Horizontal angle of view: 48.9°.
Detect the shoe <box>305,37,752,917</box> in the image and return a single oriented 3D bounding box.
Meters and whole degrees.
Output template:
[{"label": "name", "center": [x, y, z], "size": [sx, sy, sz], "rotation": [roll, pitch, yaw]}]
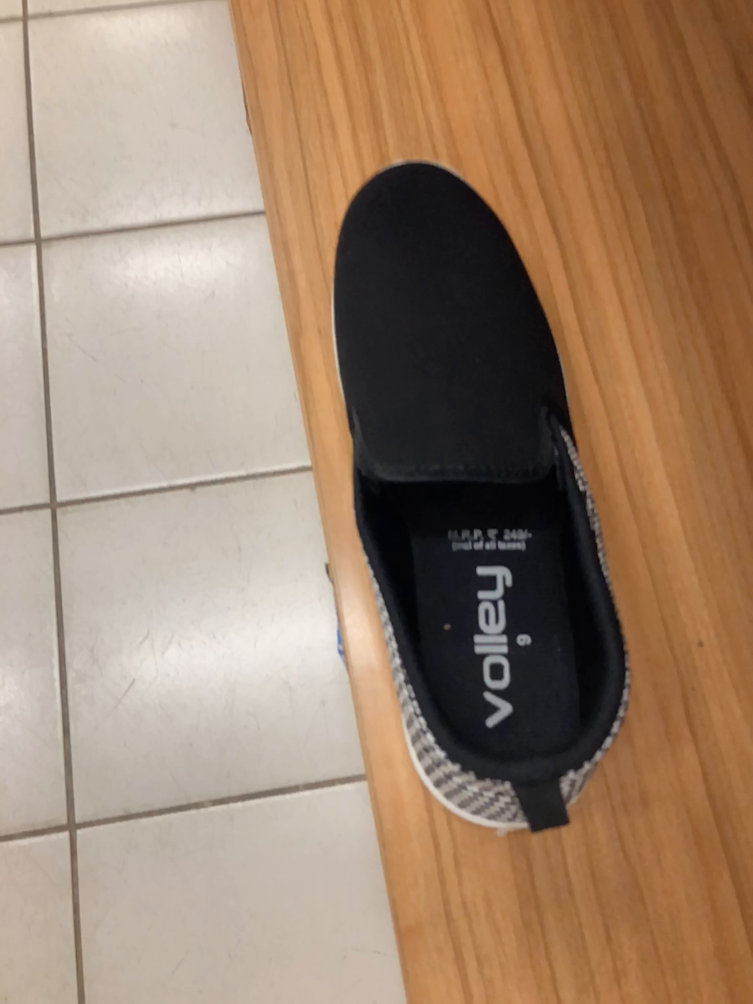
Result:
[{"label": "shoe", "center": [0.042, -0.018, 0.314], "size": [0.100, 0.090, 0.290], "rotation": [-7, 75, -4]}]
